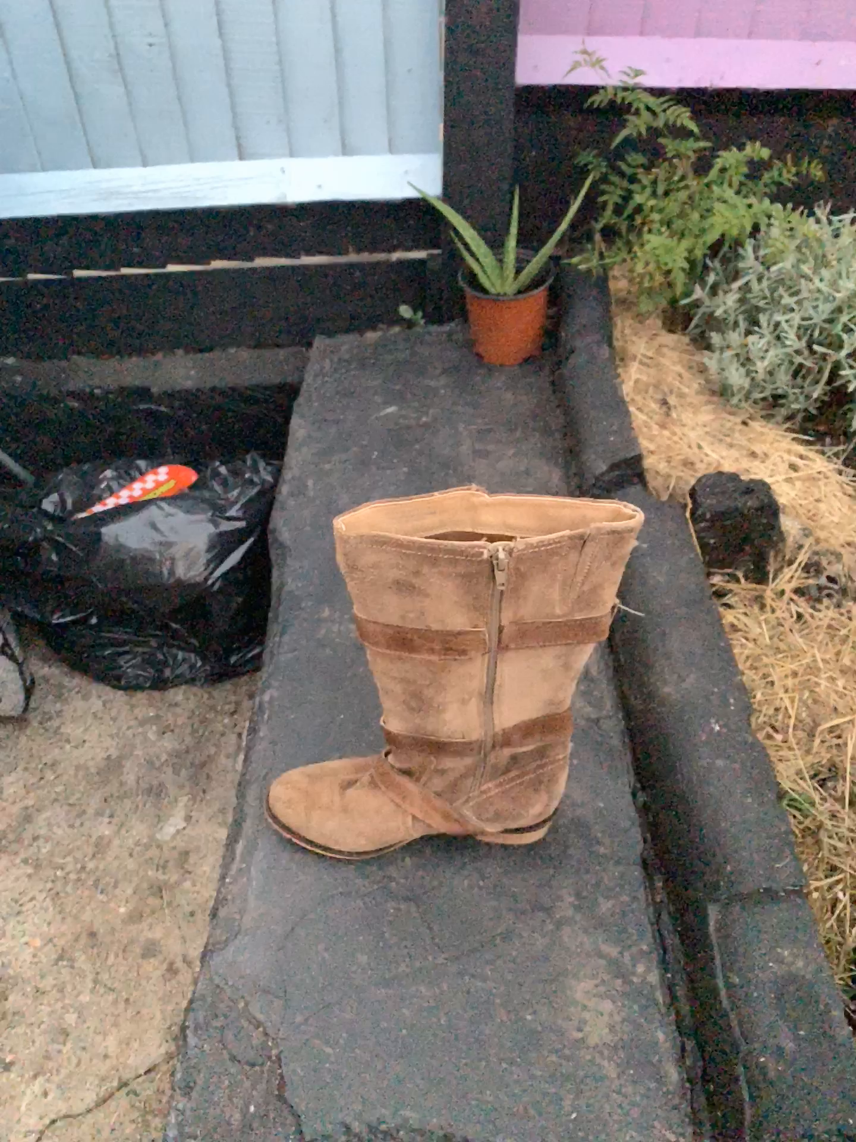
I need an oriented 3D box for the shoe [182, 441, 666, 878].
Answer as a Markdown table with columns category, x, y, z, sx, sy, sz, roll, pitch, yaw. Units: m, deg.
| category | x | y | z | sx | sy | sz | roll | pitch | yaw |
| --- | --- | --- | --- | --- | --- | --- | --- | --- | --- |
| shoe | 0.000 | 0.088 | 0.654 | 0.270 | 0.376 | 0.101 | 0 | 43 | 1 |
